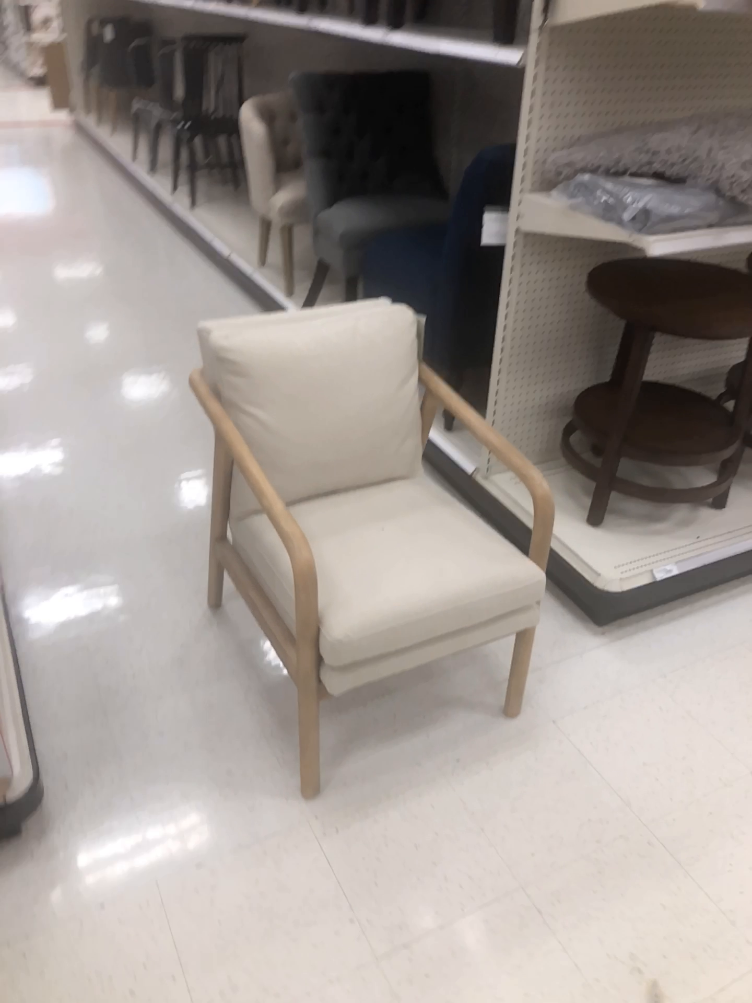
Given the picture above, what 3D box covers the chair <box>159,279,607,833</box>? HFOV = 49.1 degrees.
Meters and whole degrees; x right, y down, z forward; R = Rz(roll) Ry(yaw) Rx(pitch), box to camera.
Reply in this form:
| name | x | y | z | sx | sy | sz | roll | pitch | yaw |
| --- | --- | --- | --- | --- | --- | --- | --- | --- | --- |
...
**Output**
| name | x | y | z | sx | sy | sz | roll | pitch | yaw |
| --- | --- | --- | --- | --- | --- | --- | --- | --- | --- |
| chair | -0.046 | 0.055 | 1.789 | 0.581 | 0.806 | 0.763 | -13 | 35 | -23 |
